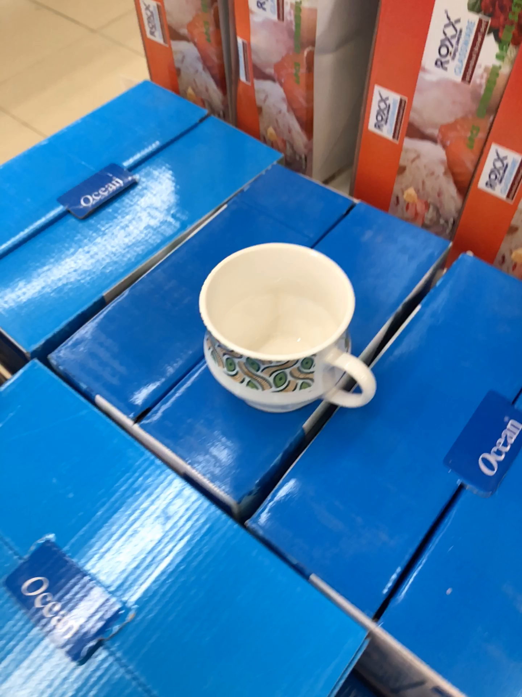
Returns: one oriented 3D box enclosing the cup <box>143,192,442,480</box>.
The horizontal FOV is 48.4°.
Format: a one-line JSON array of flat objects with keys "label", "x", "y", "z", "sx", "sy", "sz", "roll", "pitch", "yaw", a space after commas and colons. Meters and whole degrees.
[{"label": "cup", "x": 0.013, "y": -0.007, "z": 0.262, "sx": 0.100, "sy": 0.060, "sz": 0.070, "roll": 32, "pitch": 63, "yaw": 20}]
